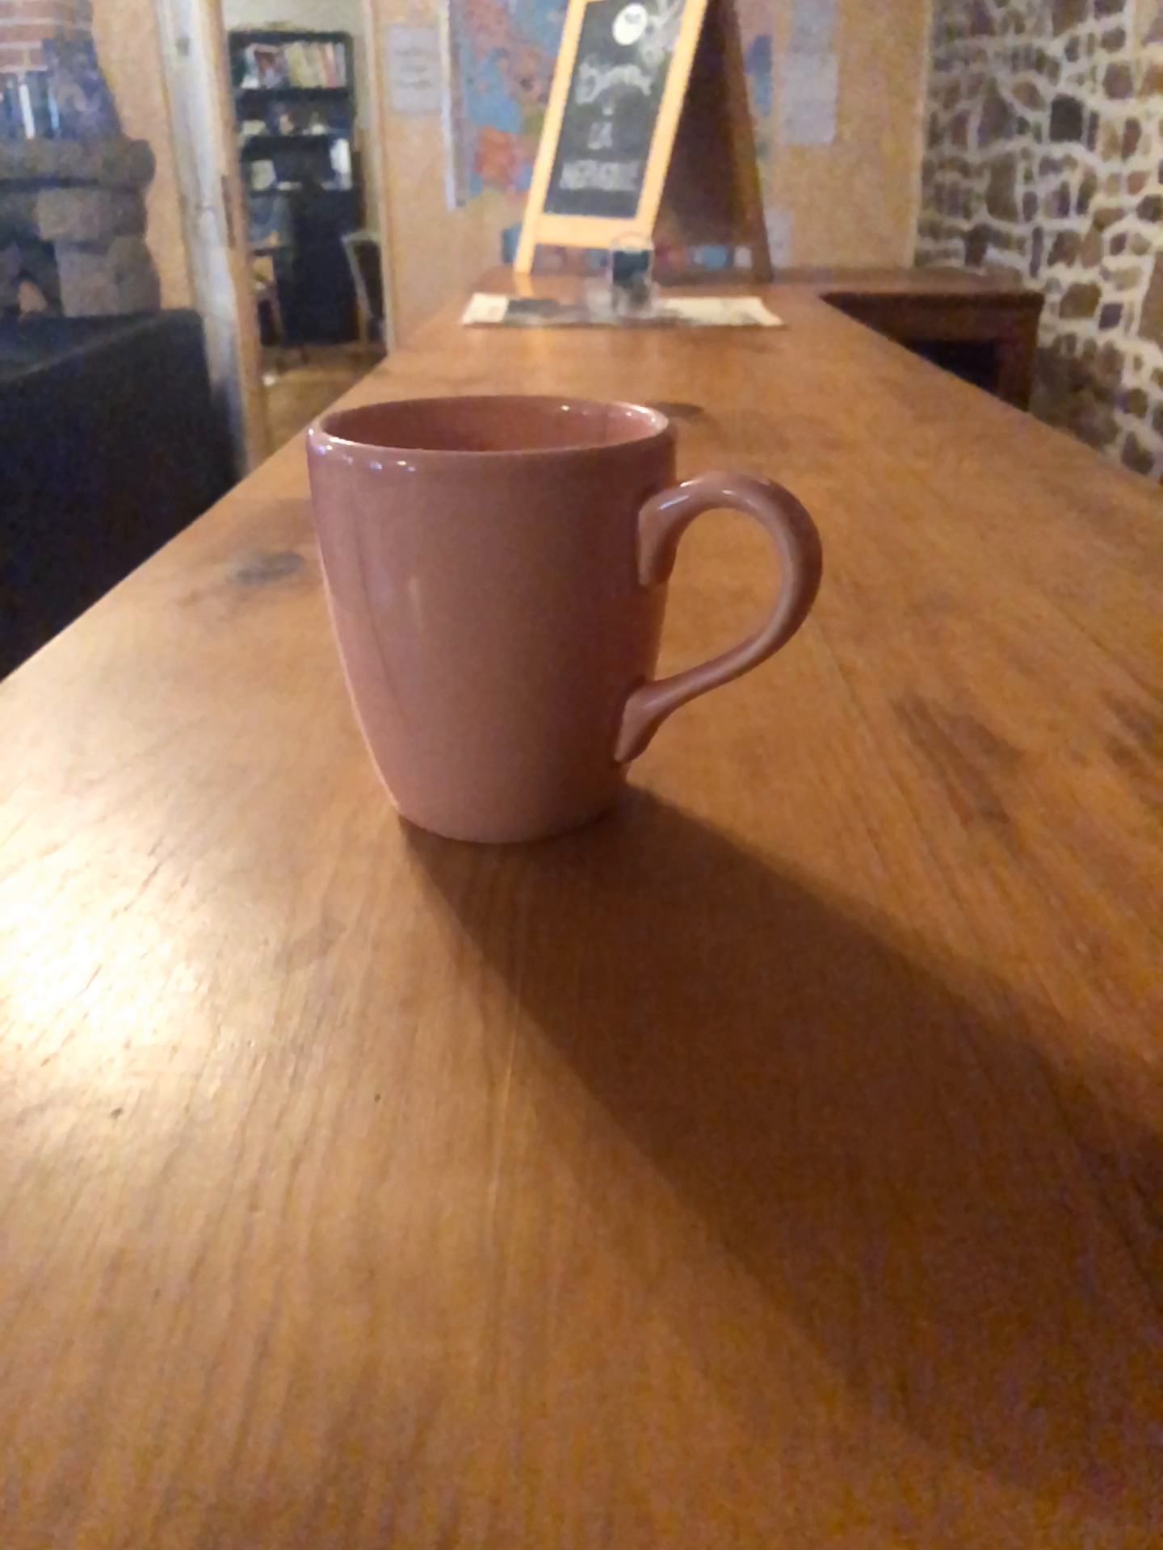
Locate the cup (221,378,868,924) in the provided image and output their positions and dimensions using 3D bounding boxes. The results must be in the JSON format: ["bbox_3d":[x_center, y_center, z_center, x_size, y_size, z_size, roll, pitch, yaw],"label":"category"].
[{"bbox_3d":[-0.004,-0.039,0.314,0.121,0.095,0.091,10,27,23],"label":"cup"}]
